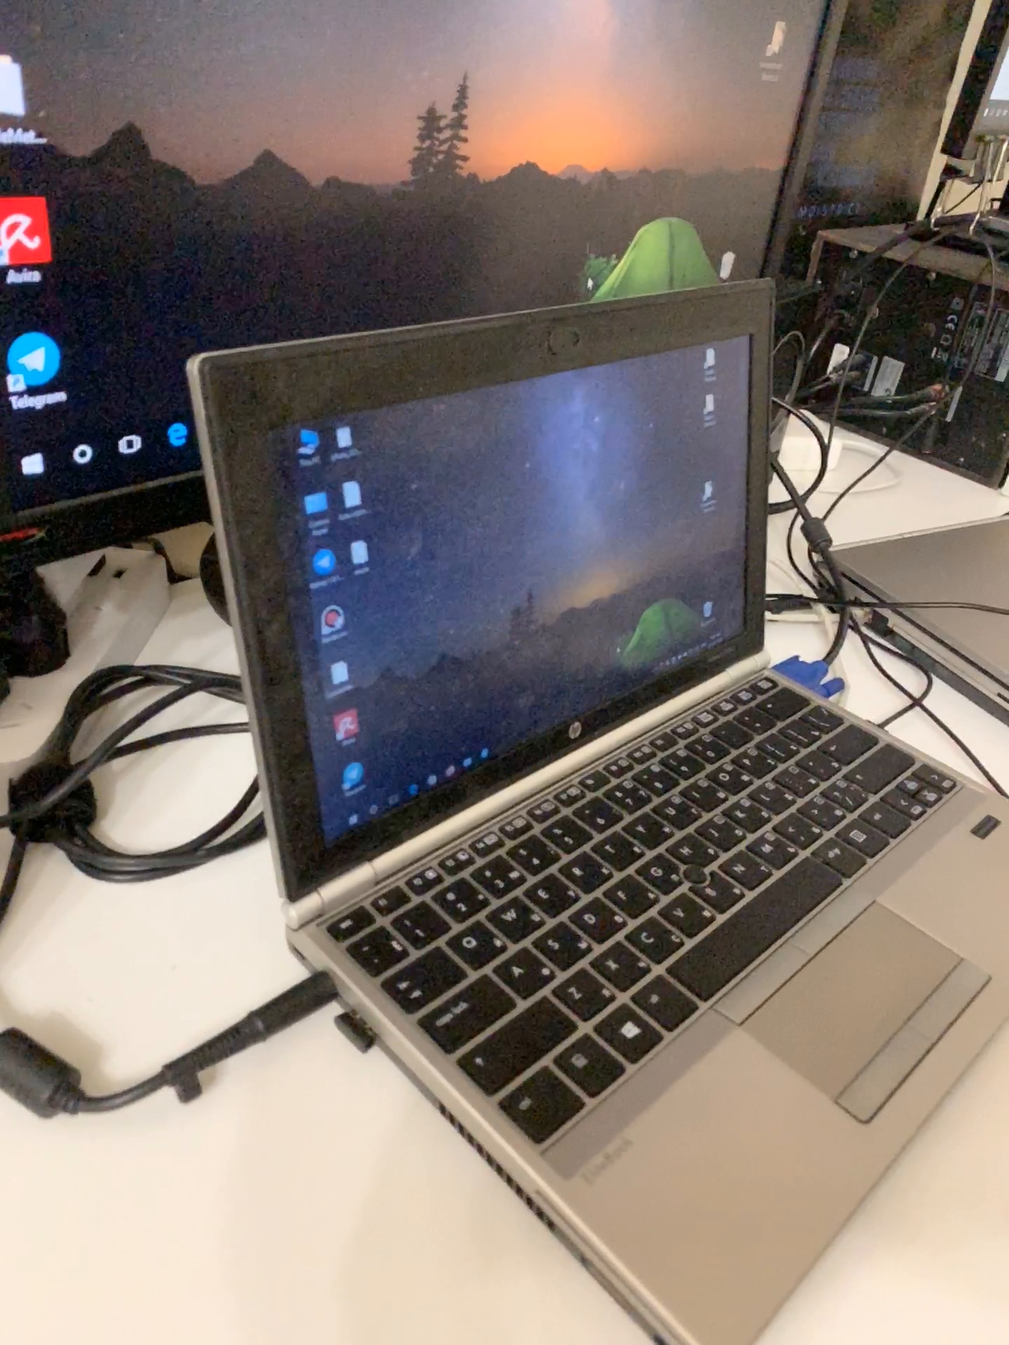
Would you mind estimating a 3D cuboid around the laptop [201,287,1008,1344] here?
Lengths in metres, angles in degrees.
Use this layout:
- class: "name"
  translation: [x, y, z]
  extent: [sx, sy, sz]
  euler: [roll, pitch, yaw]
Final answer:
- class: "laptop"
  translation: [0.087, -0.004, 0.353]
  extent: [0.285, 0.176, 0.226]
  euler: [-23, 43, -39]
